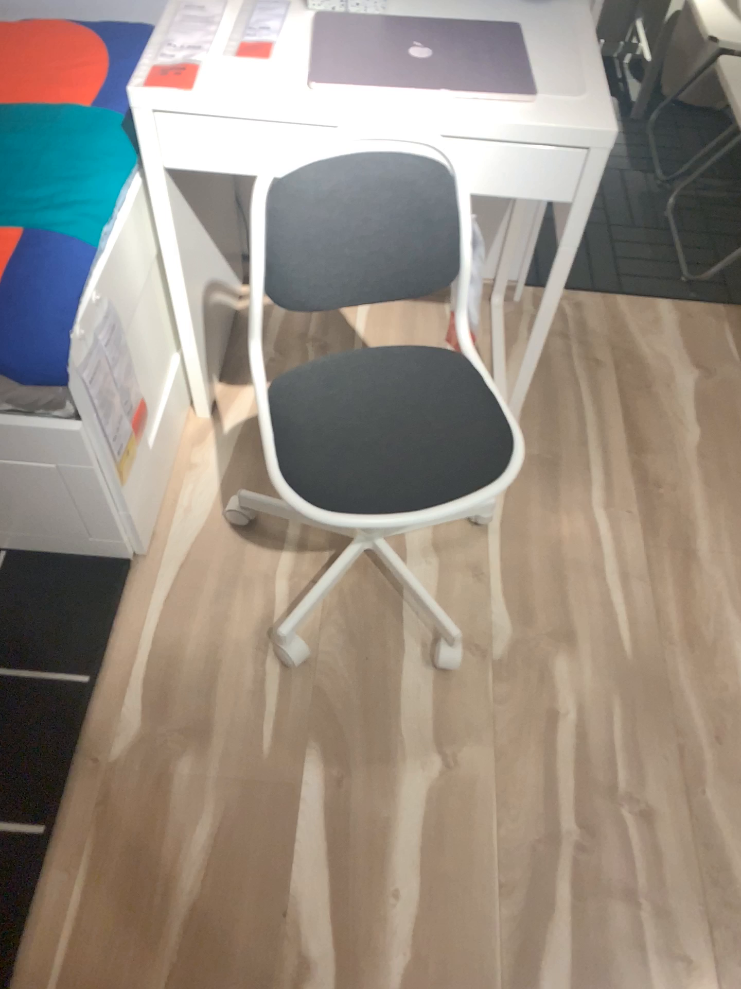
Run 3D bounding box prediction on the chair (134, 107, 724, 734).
[{"bbox_3d":[0.013,-0.101,1.194,0.550,0.658,0.622,-13,56,-13],"label":"chair"}]
